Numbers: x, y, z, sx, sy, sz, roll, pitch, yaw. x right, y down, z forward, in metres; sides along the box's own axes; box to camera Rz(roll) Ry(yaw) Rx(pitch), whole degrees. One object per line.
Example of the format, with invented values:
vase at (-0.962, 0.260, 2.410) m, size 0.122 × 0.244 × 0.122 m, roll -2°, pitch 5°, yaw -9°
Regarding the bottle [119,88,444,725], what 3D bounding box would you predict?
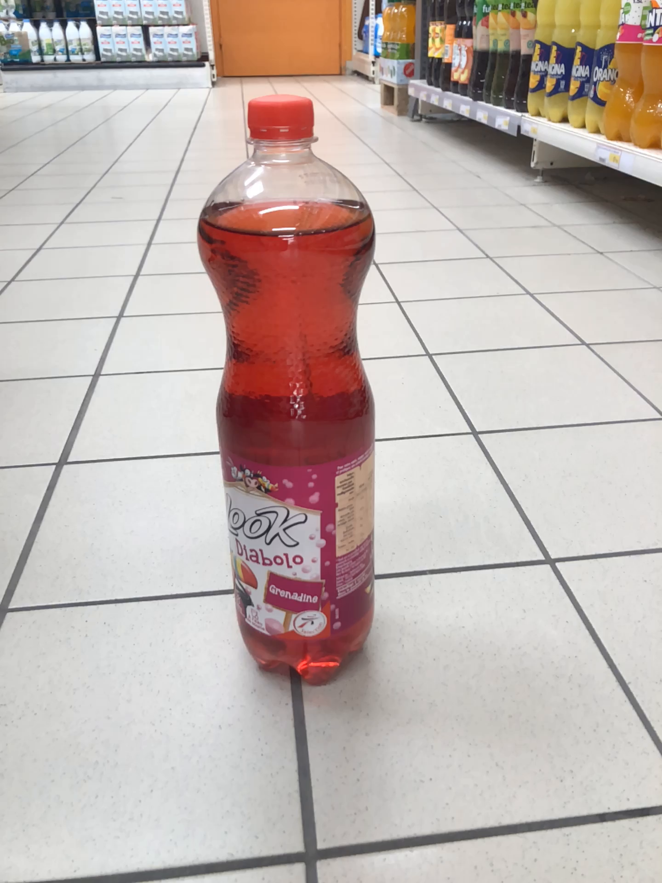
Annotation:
bottle at (-0.016, -0.013, 0.386) m, size 0.100 × 0.308 × 0.101 m, roll -1°, pitch 28°, yaw 0°
